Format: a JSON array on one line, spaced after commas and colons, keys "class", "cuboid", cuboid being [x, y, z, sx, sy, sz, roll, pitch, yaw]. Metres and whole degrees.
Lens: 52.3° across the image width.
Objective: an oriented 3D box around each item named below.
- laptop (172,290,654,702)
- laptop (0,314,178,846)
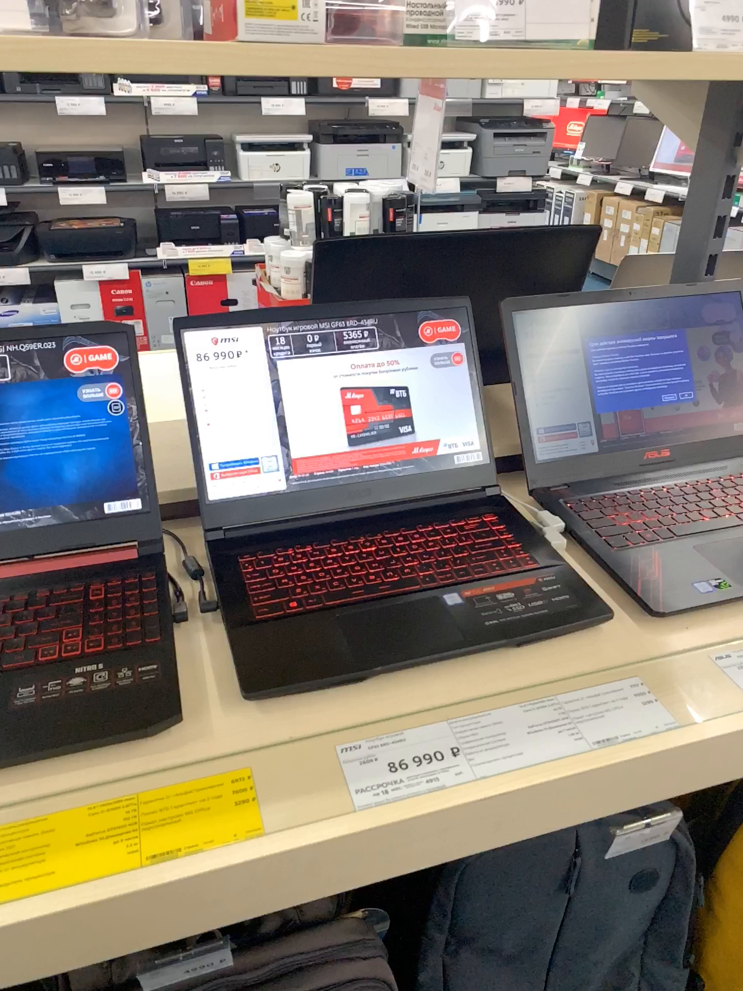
[{"class": "laptop", "cuboid": [0.007, -0.042, 0.767, 0.350, 0.204, 0.371, -9, 32, -17]}, {"class": "laptop", "cuboid": [-0.354, 0.017, 0.640, 0.334, 0.211, 0.373, -8, 30, -15]}]
